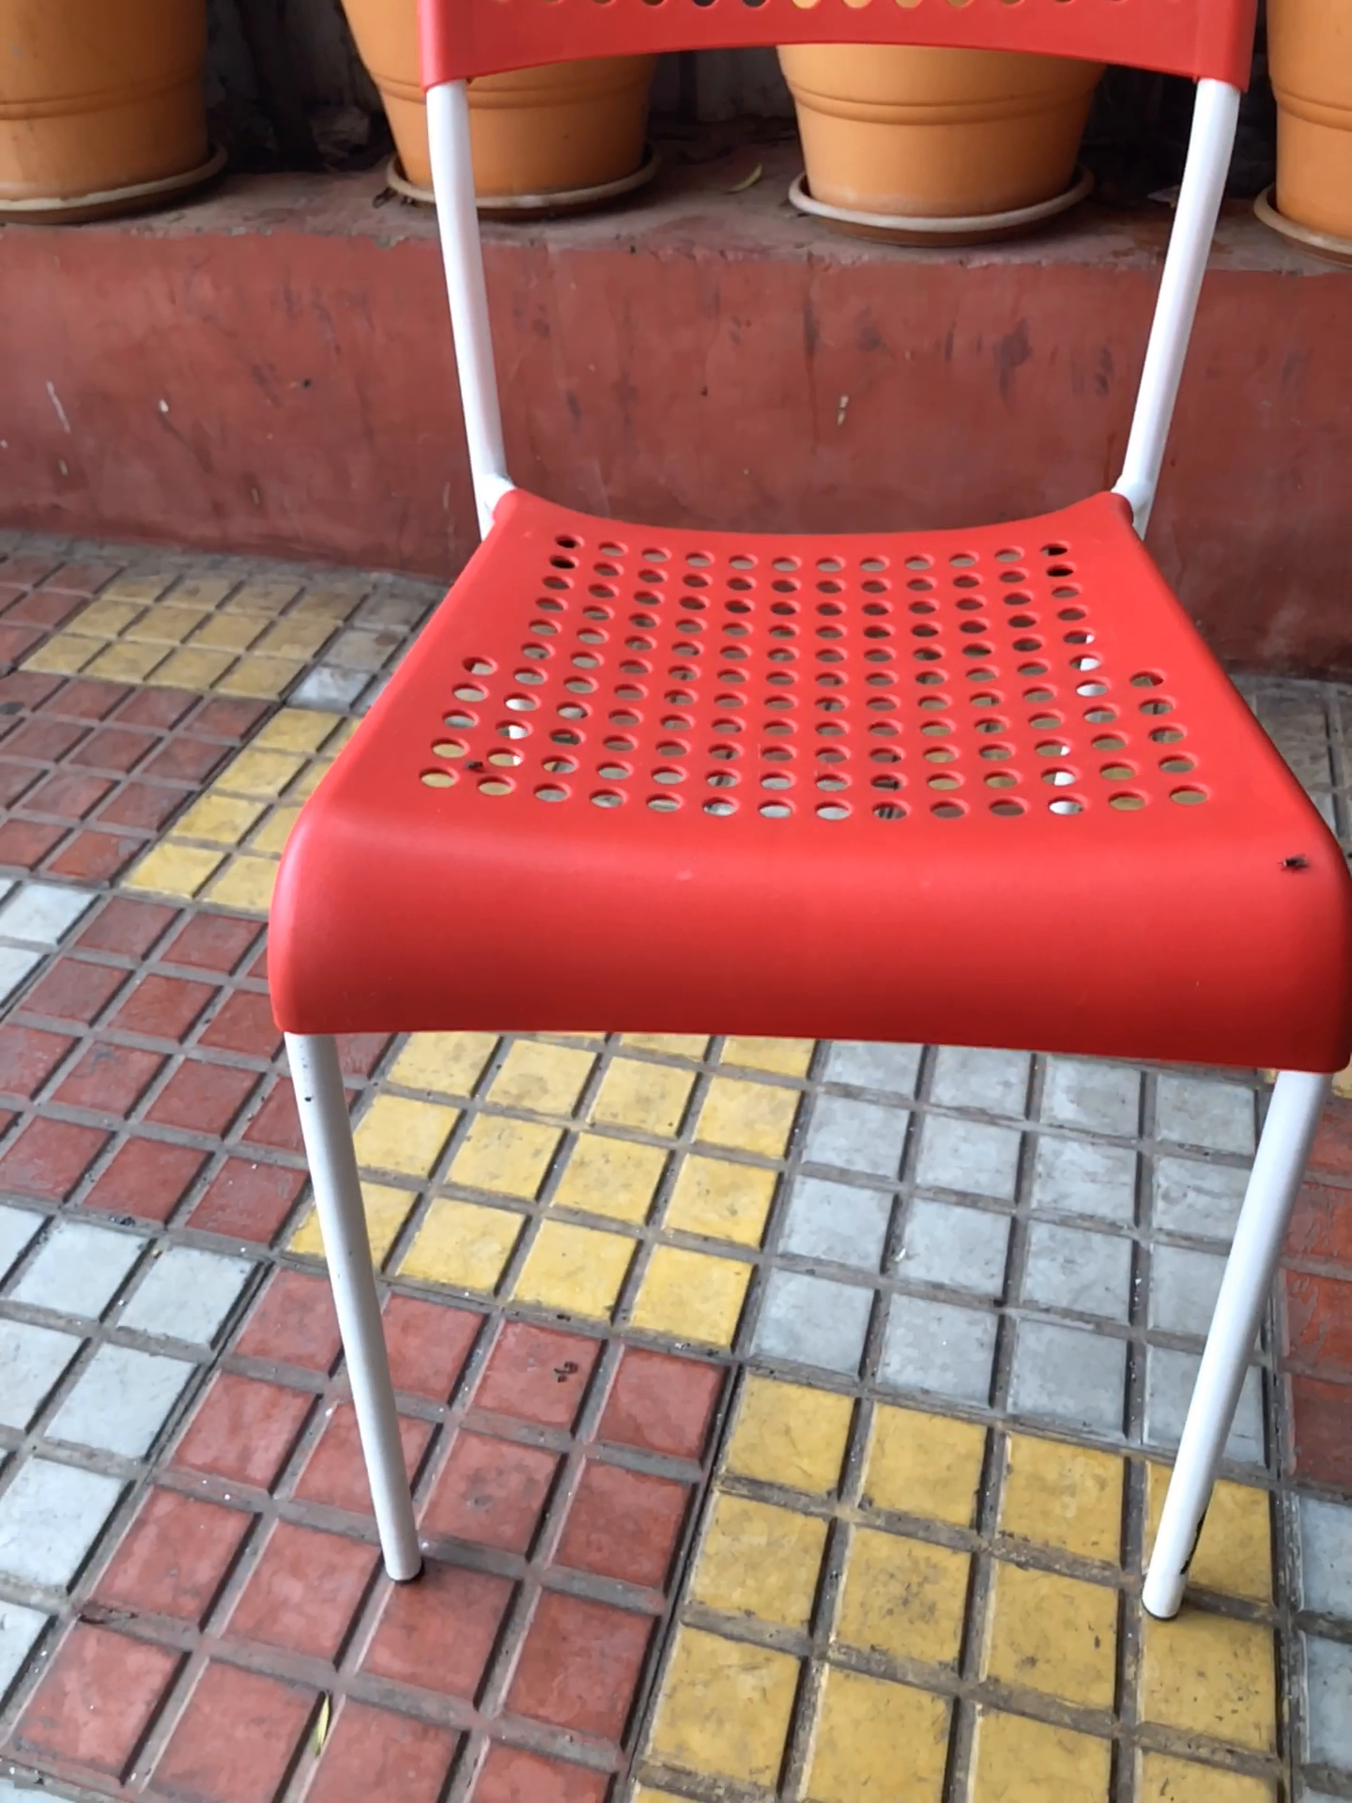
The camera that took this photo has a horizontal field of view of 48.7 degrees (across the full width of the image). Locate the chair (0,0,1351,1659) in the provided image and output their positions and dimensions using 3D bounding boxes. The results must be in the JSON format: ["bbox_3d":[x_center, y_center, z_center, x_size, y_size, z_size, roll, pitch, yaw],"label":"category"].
[{"bbox_3d":[0.039,-0.107,0.679,0.450,0.695,0.544,2,40,4],"label":"chair"}]
